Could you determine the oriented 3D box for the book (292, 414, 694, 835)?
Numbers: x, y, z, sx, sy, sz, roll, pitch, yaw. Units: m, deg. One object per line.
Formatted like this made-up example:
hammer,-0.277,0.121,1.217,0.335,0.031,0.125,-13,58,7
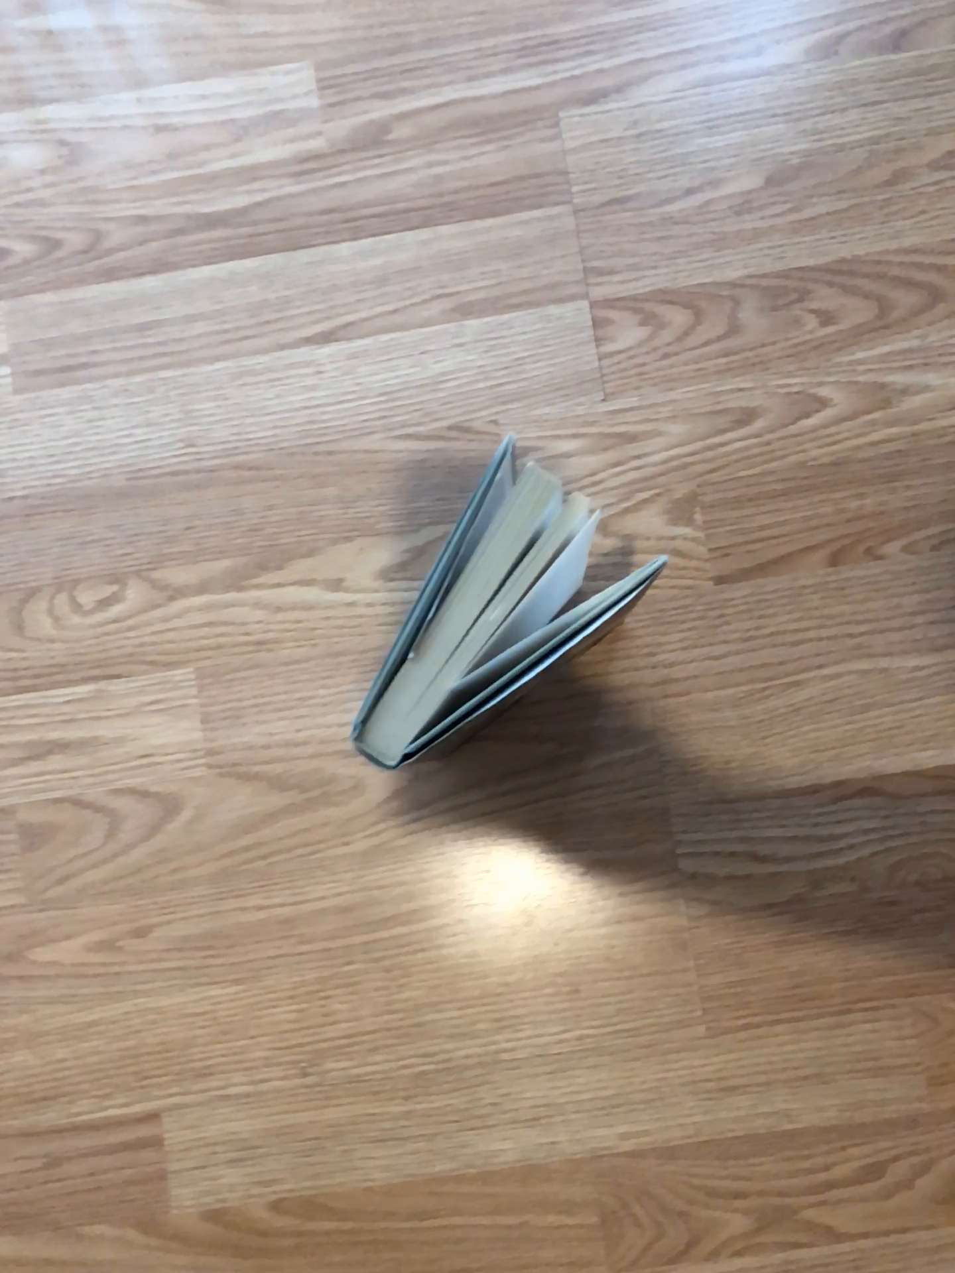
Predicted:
book,0.009,0.005,0.522,0.080,0.220,0.150,40,87,5
